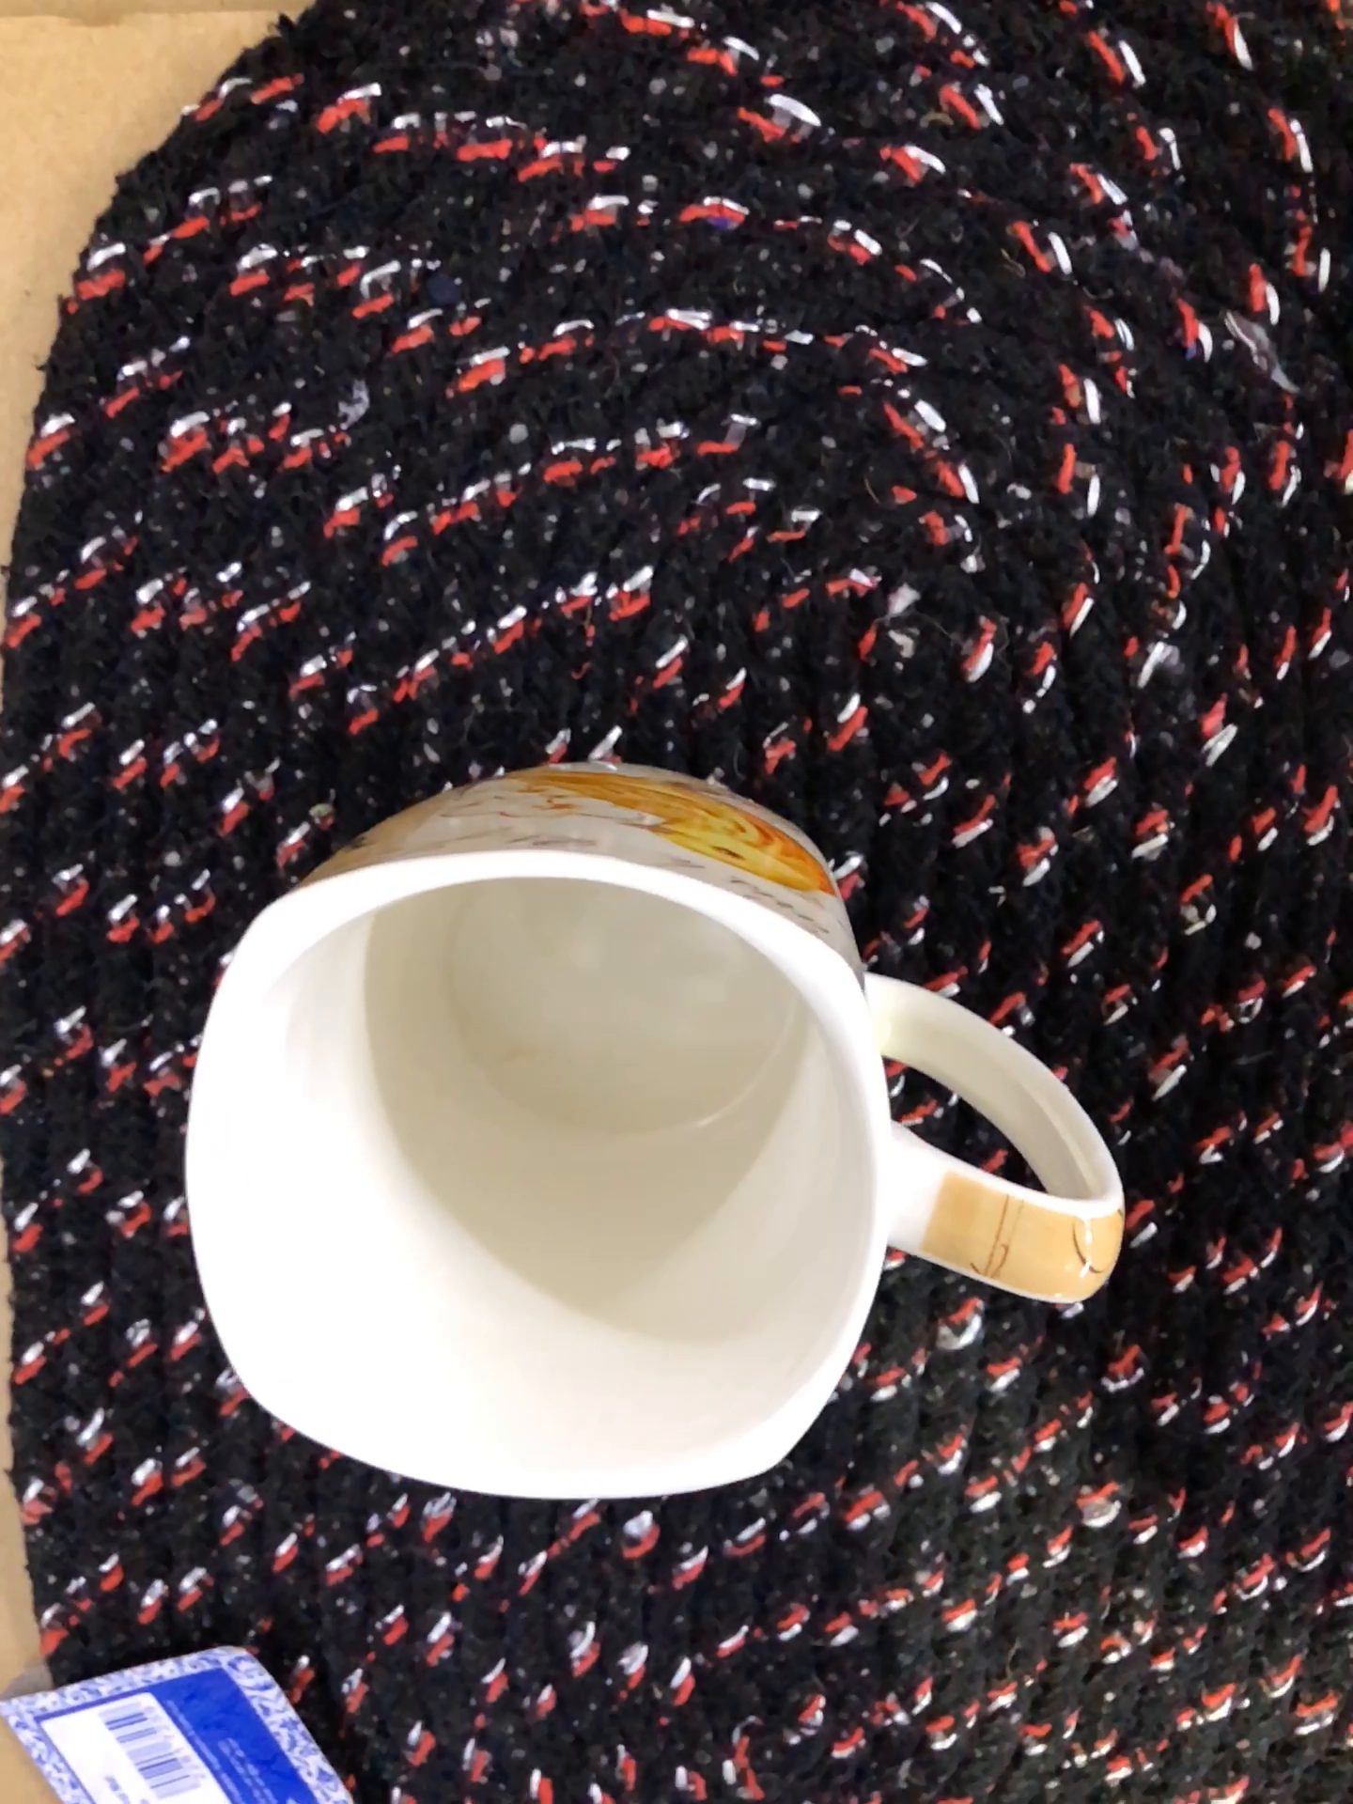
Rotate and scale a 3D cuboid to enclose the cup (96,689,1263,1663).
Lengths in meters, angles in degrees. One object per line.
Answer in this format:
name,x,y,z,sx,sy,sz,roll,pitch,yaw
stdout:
cup,-0.001,0.026,0.206,0.120,0.080,0.090,8,102,6
